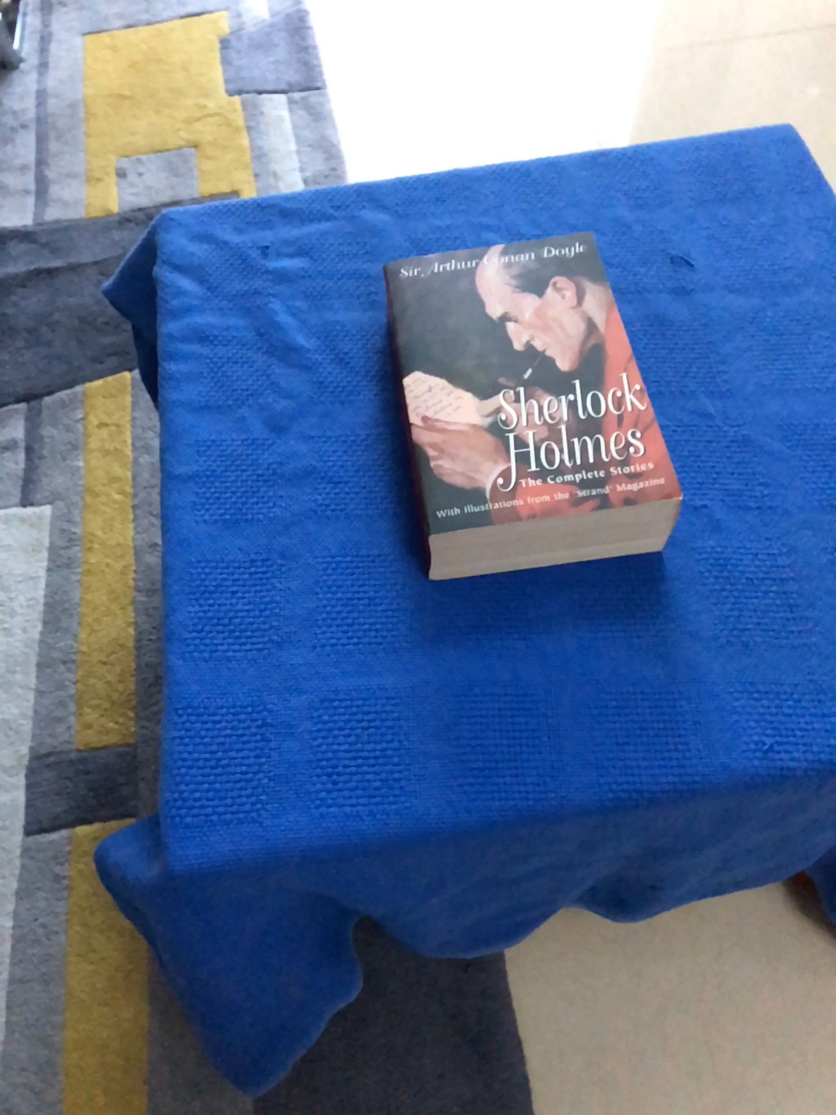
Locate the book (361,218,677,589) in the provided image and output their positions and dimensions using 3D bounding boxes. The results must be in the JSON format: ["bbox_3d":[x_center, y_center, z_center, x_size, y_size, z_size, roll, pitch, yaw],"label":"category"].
[{"bbox_3d":[0.057,-0.111,0.624,0.160,0.070,0.241,-8,59,-1],"label":"book"}]
